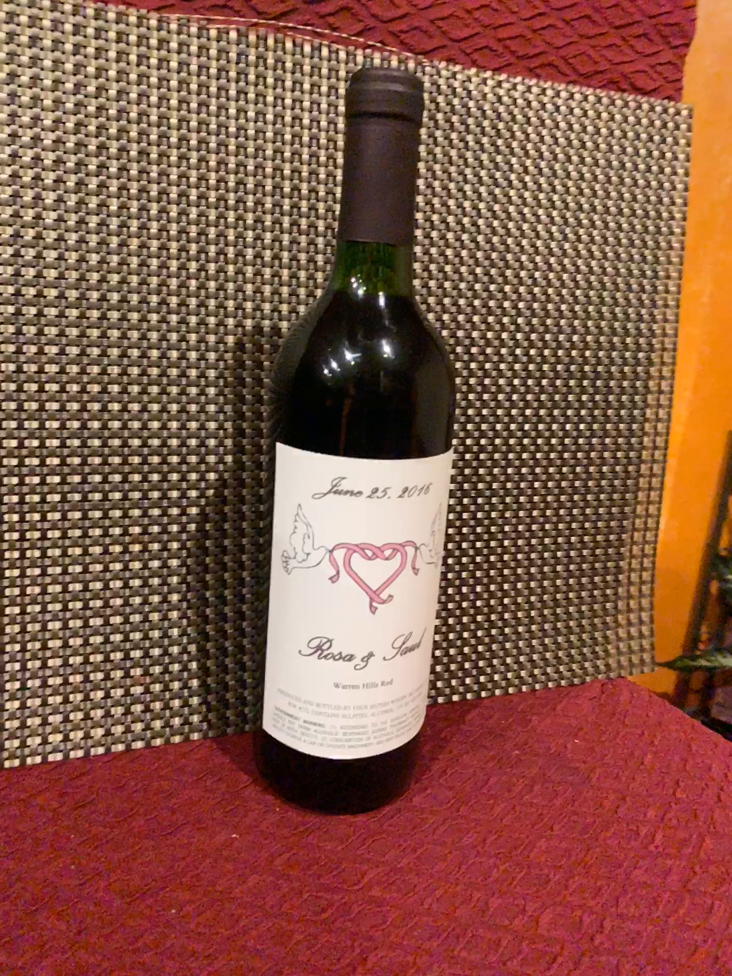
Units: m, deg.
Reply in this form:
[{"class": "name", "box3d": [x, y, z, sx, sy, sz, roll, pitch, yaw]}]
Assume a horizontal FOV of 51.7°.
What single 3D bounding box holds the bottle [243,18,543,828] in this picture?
[{"class": "bottle", "box3d": [0.000, -0.011, 0.304, 0.080, 0.289, 0.060, 0, 16, -17]}]
